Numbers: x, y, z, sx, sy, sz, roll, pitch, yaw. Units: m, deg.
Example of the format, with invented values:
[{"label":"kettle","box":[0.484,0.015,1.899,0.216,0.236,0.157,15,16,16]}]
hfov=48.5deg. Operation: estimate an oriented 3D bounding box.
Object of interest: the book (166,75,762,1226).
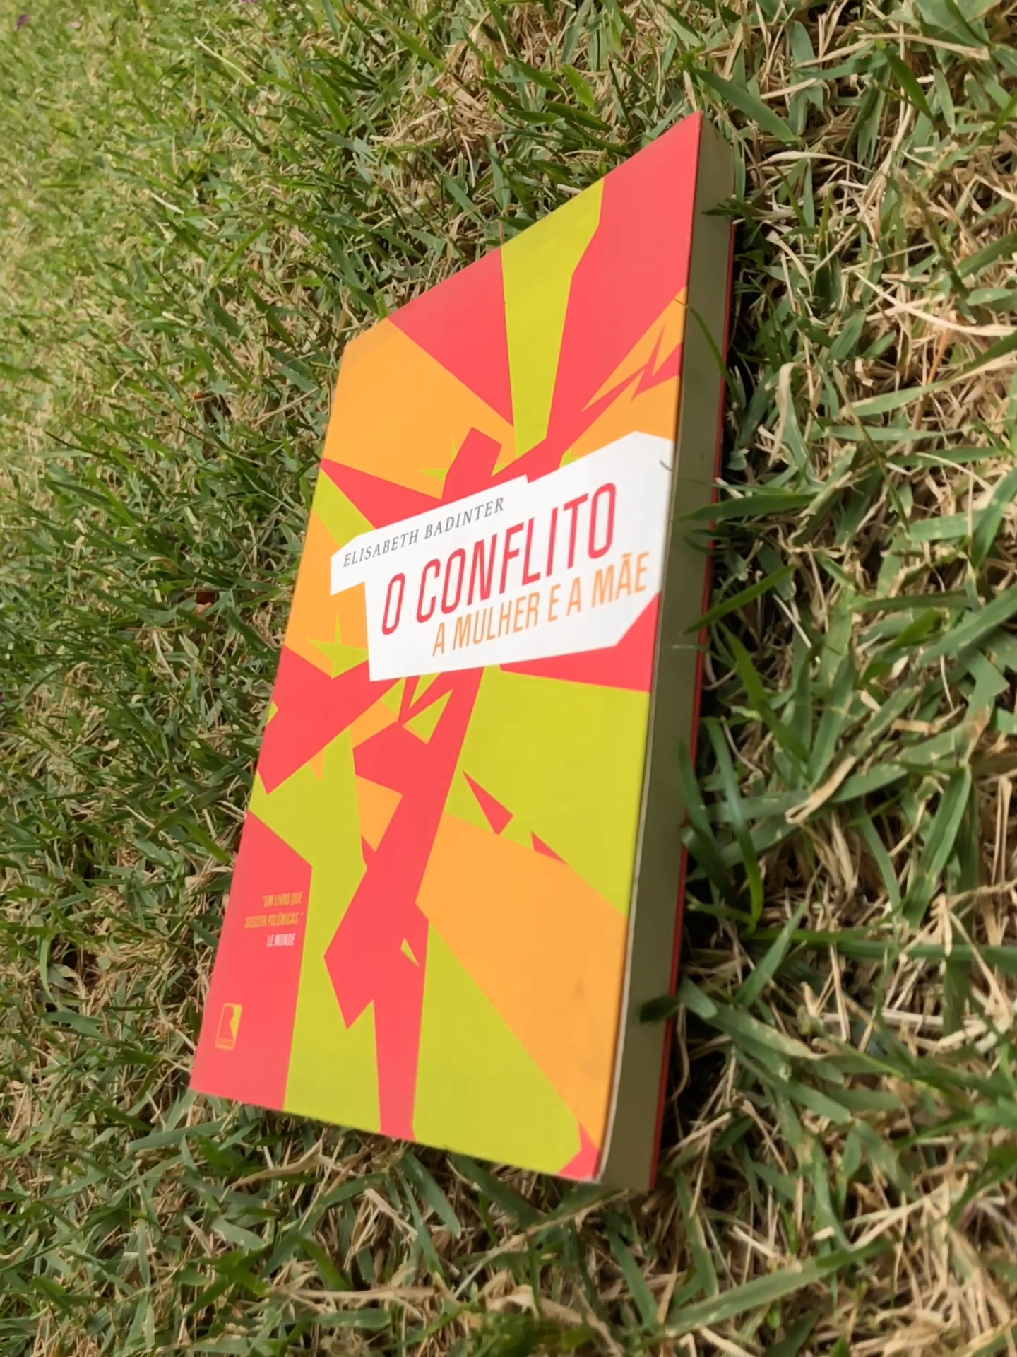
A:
[{"label":"book","box":[-0.012,-0.008,0.238,0.131,0.020,0.200,-13,62,48]}]
